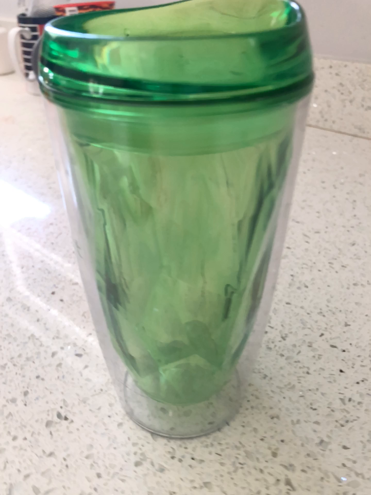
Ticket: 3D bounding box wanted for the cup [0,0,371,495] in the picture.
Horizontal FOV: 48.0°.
[{"bbox_3d":[-0.003,-0.010,0.163,0.090,0.159,0.090,-1,34,1],"label":"cup"}]
